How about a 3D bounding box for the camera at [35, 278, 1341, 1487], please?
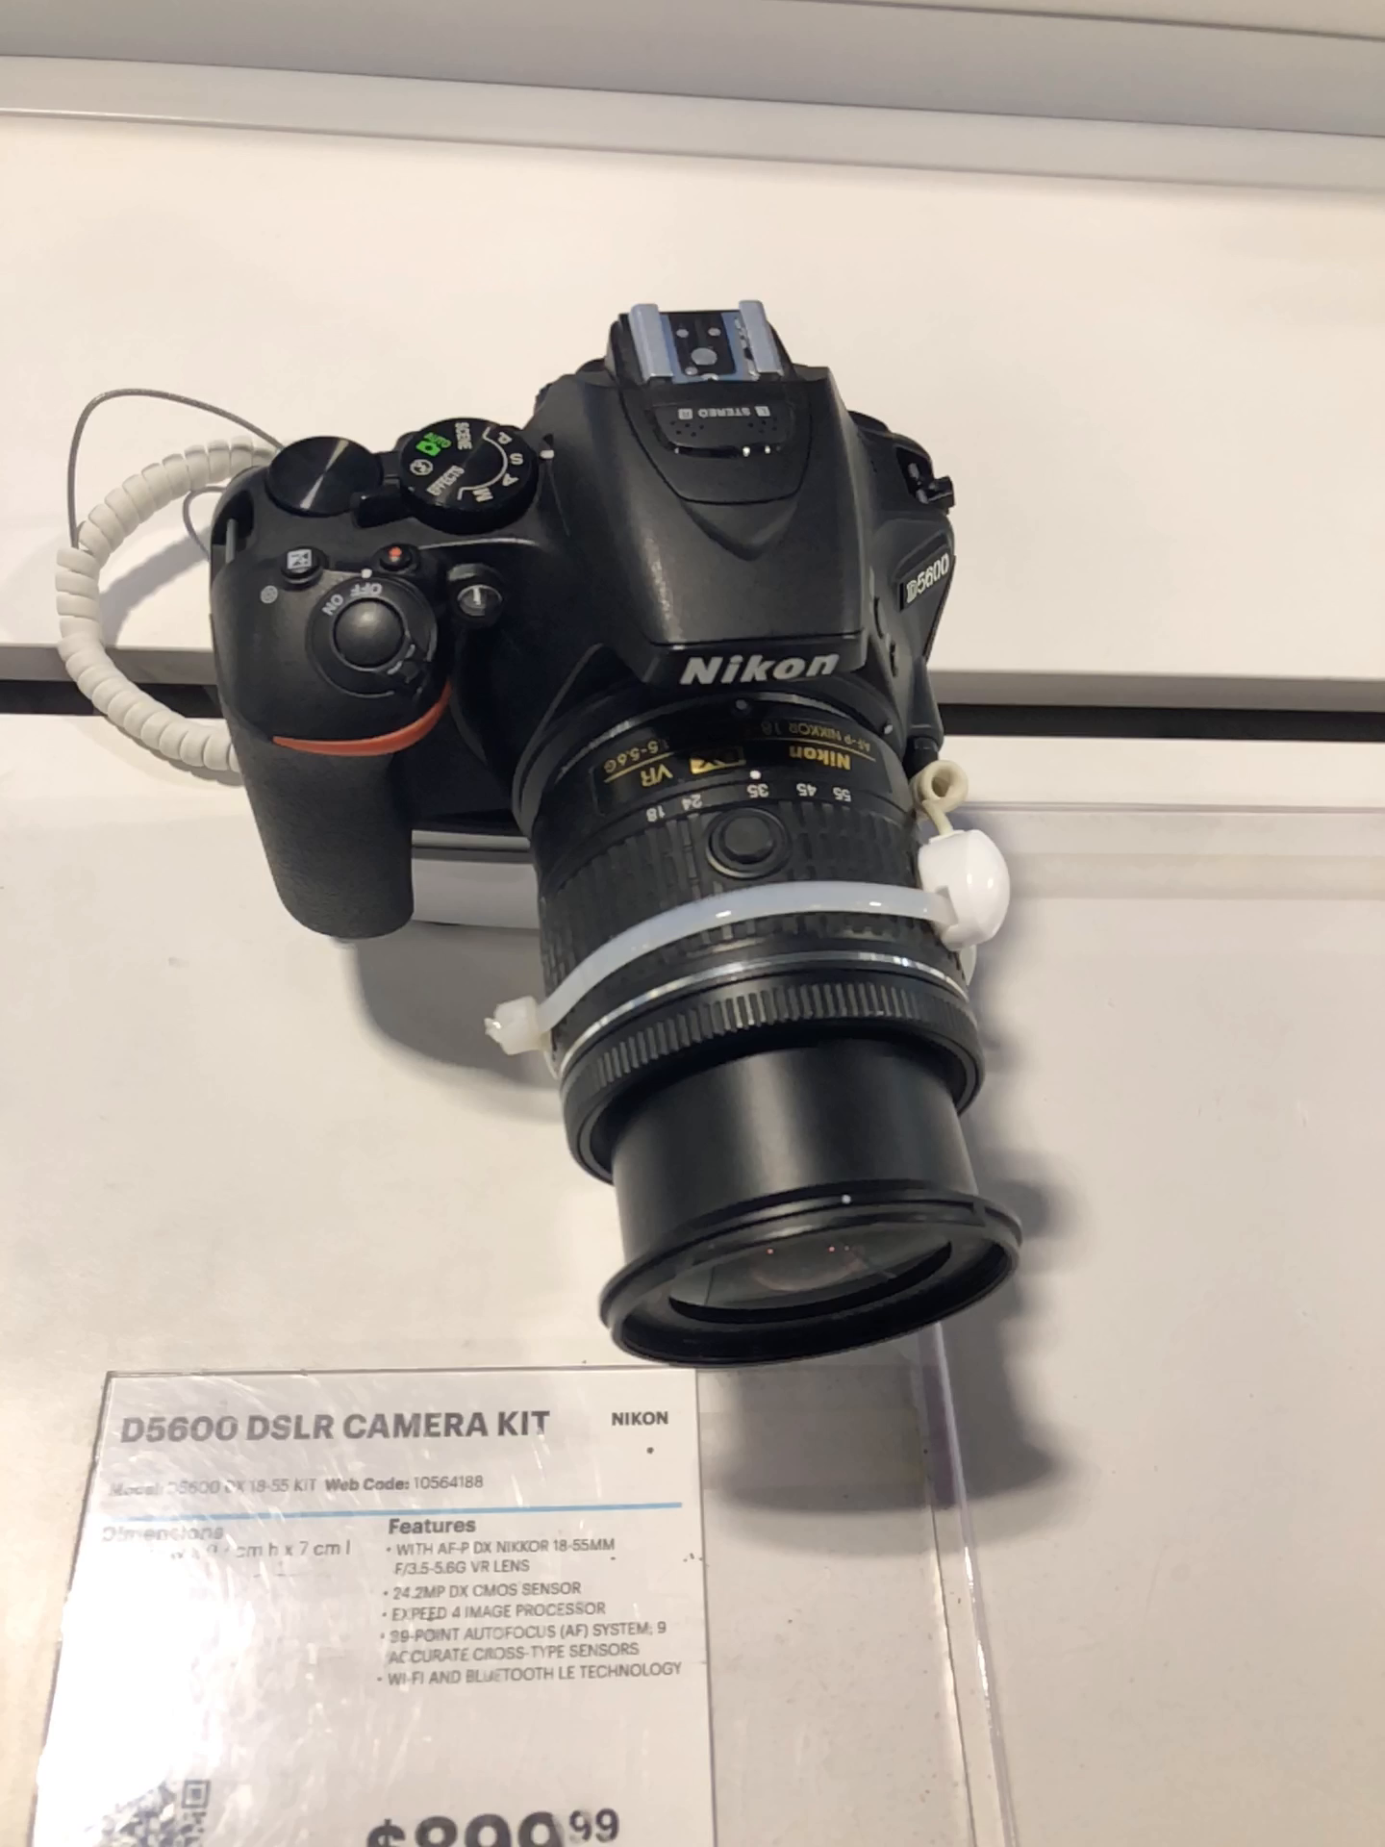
[{"bbox_3d":[-0.011,-0.010,0.225,0.130,0.090,0.141,-6,57,-8],"label":"camera"}]
